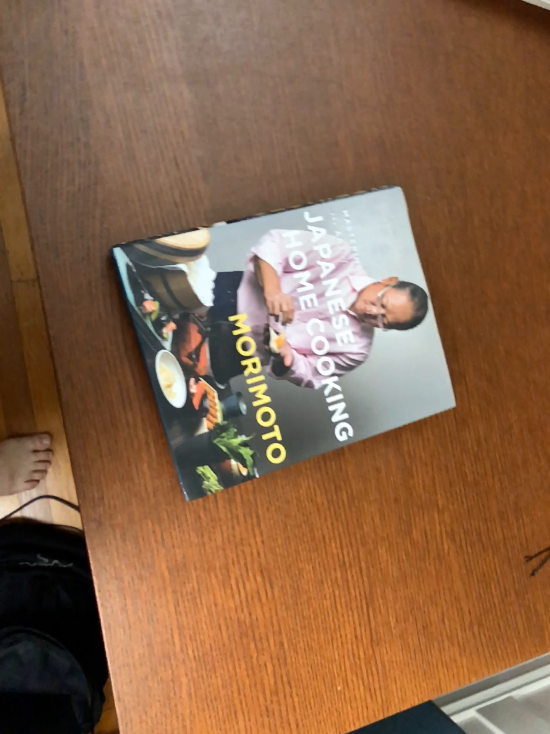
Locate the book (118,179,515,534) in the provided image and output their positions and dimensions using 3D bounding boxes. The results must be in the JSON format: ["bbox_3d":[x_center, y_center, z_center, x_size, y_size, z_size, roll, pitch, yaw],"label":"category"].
[{"bbox_3d":[0.048,-0.020,0.515,0.301,0.030,0.220,-17,94,-18],"label":"book"}]
